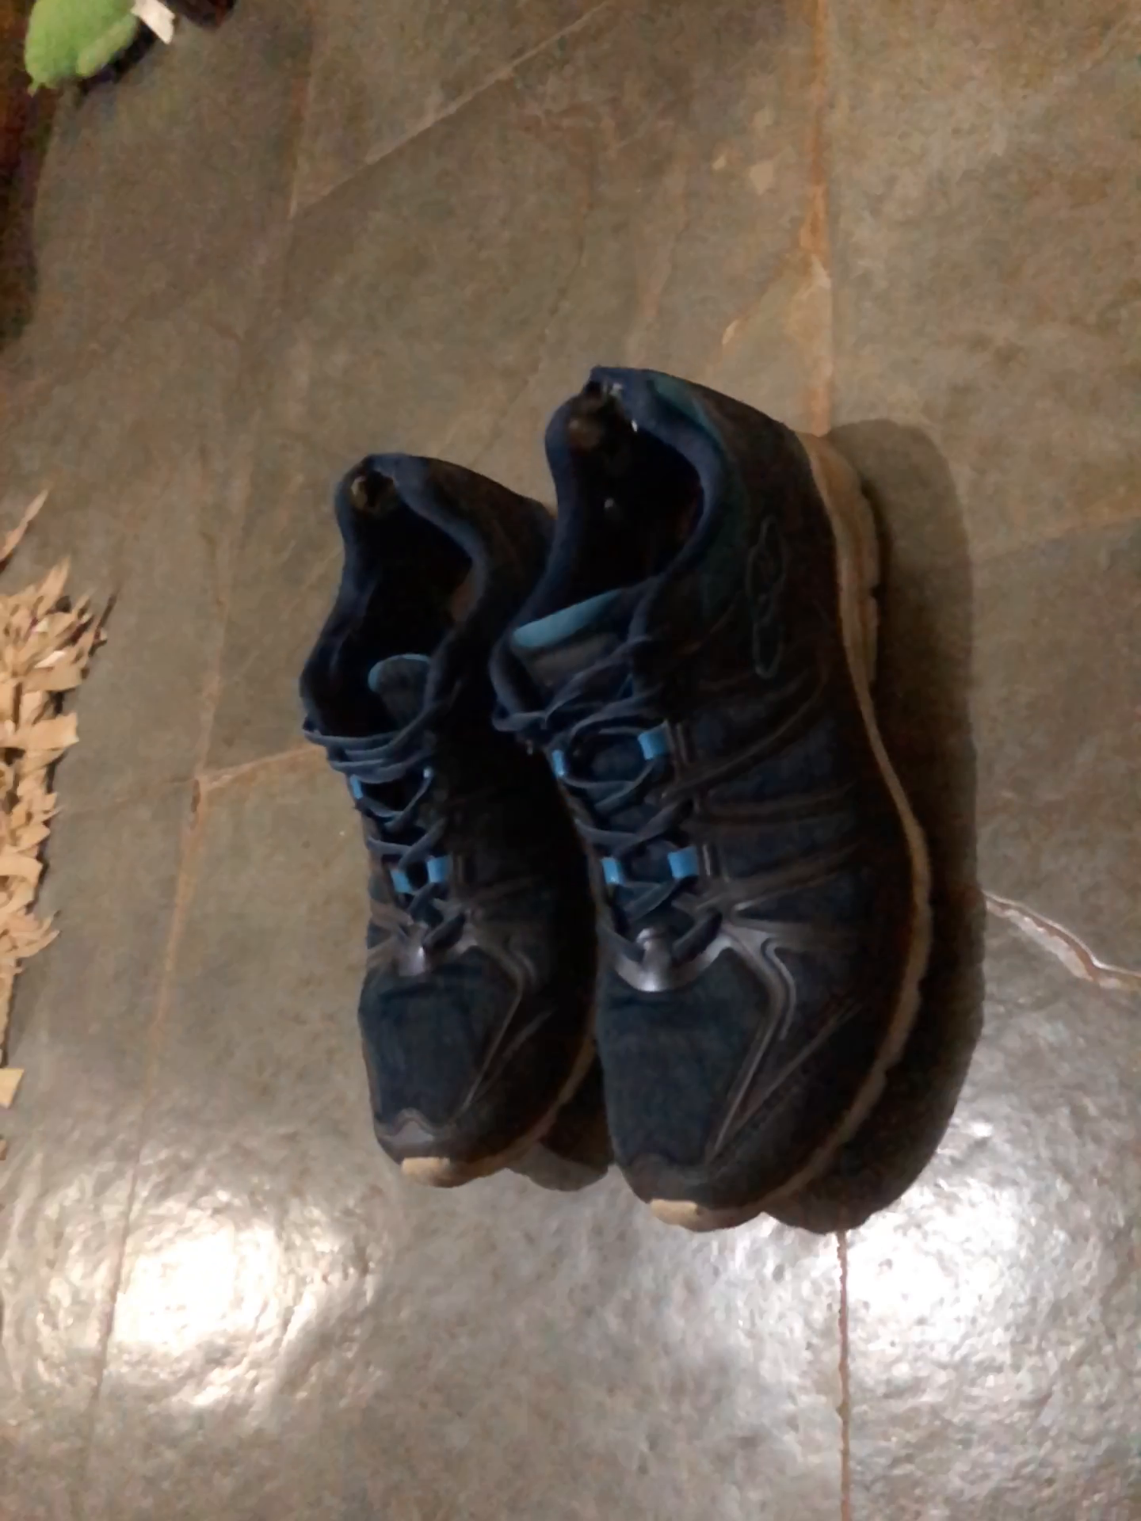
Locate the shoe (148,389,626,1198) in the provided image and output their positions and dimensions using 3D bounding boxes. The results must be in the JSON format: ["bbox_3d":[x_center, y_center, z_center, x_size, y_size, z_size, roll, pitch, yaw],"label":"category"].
[{"bbox_3d":[-0.062,0.020,0.493,0.120,0.110,0.281,-14,64,37],"label":"shoe"}]

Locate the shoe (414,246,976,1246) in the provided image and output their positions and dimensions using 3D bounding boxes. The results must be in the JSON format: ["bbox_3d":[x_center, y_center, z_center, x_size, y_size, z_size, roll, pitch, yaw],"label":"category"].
[{"bbox_3d":[0.045,0.002,0.407,0.120,0.110,0.281,-12,65,38],"label":"shoe"}]
